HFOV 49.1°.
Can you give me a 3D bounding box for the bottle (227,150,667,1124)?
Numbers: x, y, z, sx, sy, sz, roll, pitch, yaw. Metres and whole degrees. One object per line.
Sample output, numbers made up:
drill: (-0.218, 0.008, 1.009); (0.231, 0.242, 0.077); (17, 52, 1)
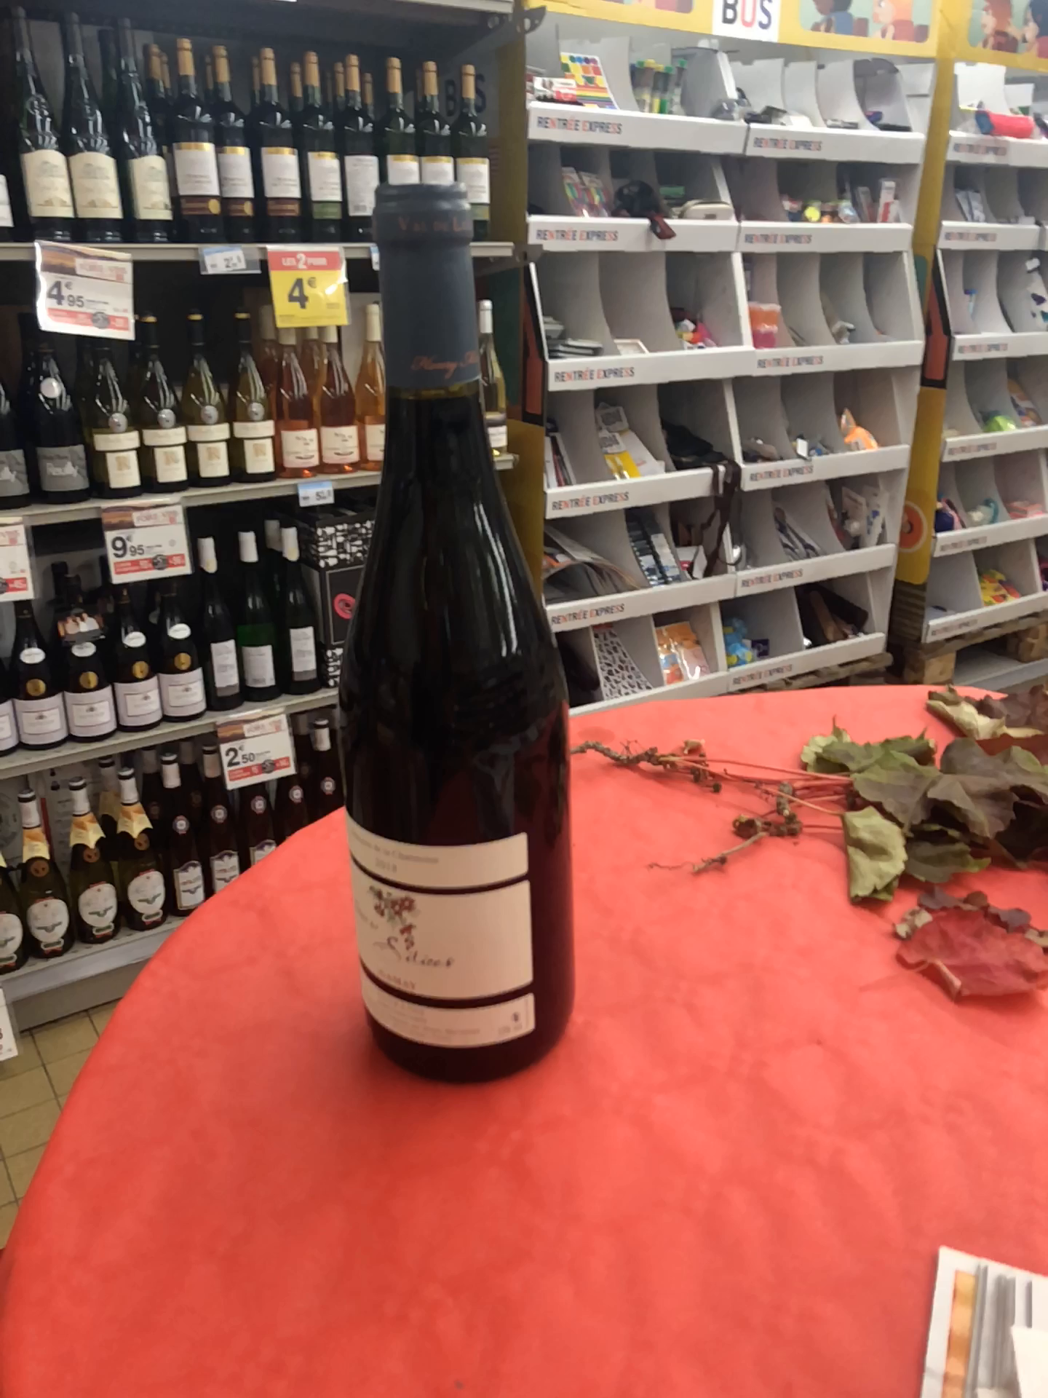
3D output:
bottle: (-0.020, -0.019, 0.383); (0.090, 0.289, 0.090); (0, 21, 0)
